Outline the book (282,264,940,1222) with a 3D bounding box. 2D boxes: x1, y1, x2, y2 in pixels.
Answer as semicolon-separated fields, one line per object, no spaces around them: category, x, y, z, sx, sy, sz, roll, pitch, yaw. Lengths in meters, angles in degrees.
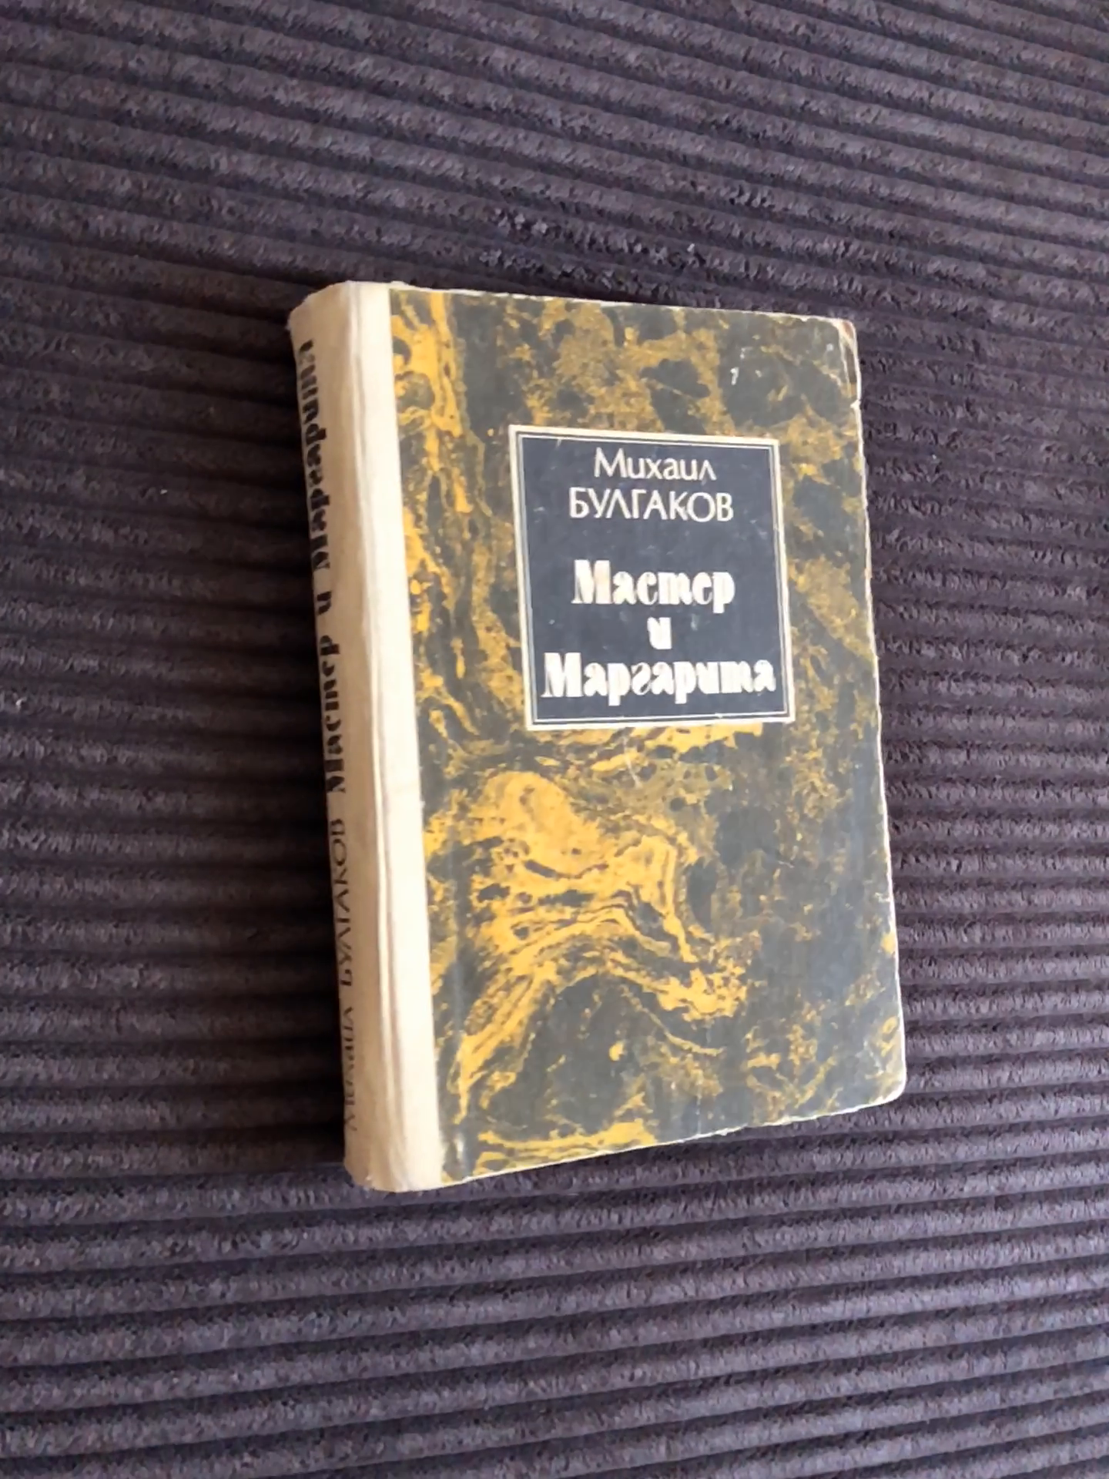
book;0.017;-0.005;0.324;0.155;0.035;0.220;-4;87;-21
